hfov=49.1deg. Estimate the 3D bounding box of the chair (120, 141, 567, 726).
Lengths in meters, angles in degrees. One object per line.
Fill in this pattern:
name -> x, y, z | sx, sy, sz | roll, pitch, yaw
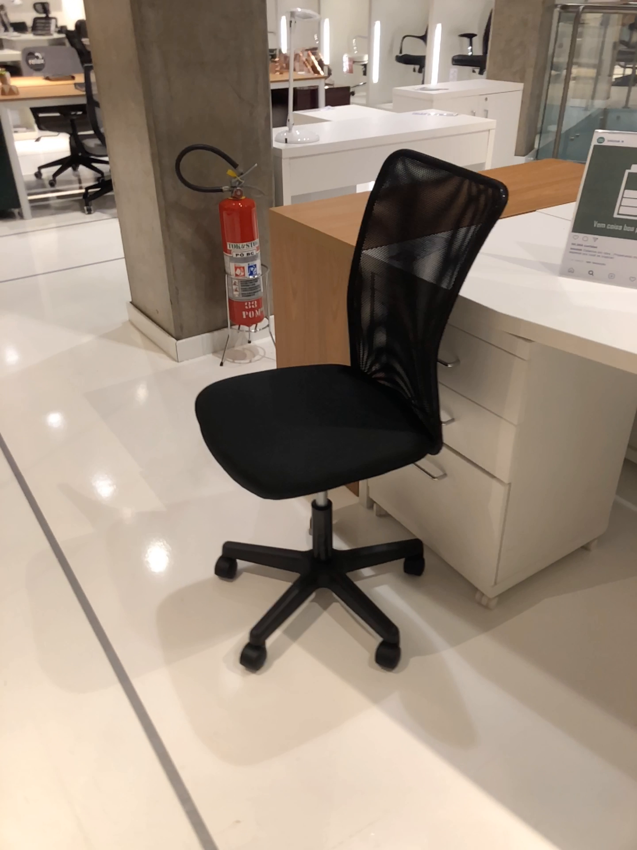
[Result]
chair -> 0.010, -0.017, 1.417 | 0.571, 0.923, 0.563 | -14, 33, -20
